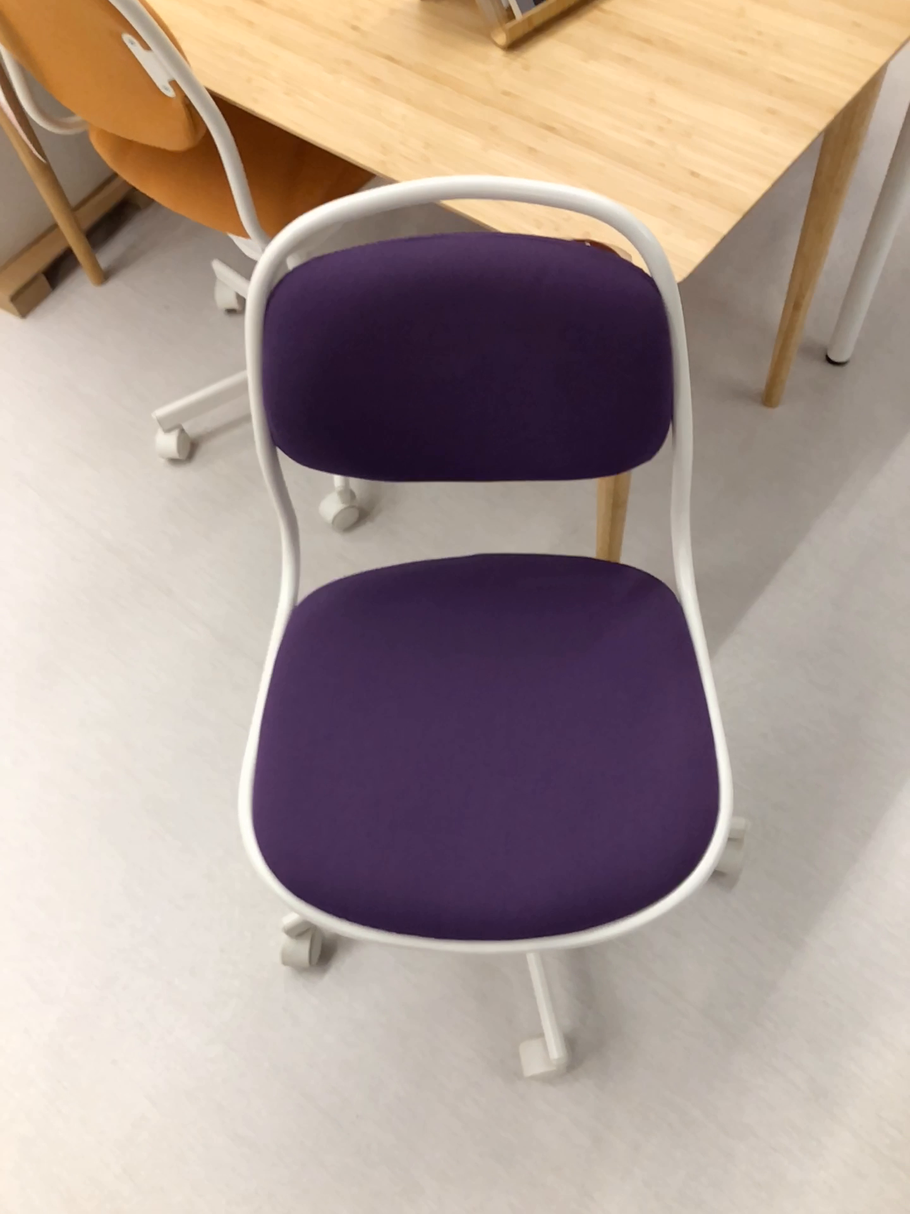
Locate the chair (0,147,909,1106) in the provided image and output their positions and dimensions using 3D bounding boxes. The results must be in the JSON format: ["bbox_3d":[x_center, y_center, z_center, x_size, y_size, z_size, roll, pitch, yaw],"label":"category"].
[{"bbox_3d":[0.045,0.104,1.026,0.620,0.777,0.663,0,61,6],"label":"chair"}]
